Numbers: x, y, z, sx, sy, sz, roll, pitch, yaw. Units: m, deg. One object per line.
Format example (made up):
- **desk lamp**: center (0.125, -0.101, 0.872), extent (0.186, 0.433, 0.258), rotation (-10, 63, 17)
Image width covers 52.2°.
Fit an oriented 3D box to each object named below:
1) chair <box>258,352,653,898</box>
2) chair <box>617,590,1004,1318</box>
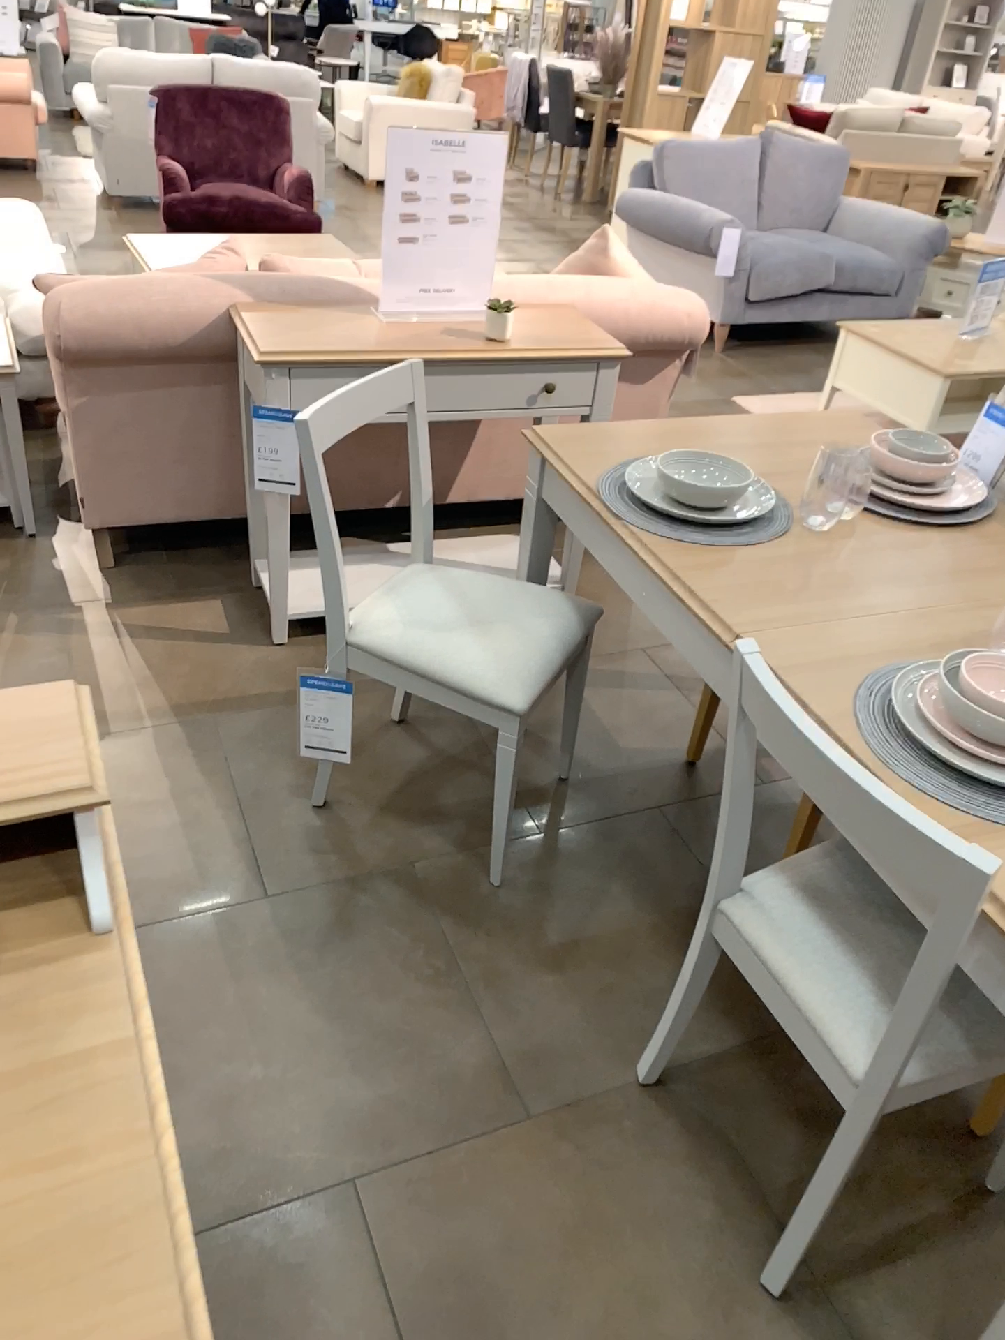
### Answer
- **chair**: center (-0.104, -0.096, 1.991), extent (0.535, 0.817, 0.464), rotation (19, 35, 17)
- **chair**: center (0.563, 0.382, 1.431), extent (0.535, 0.817, 0.434), rotation (-9, 37, -23)
